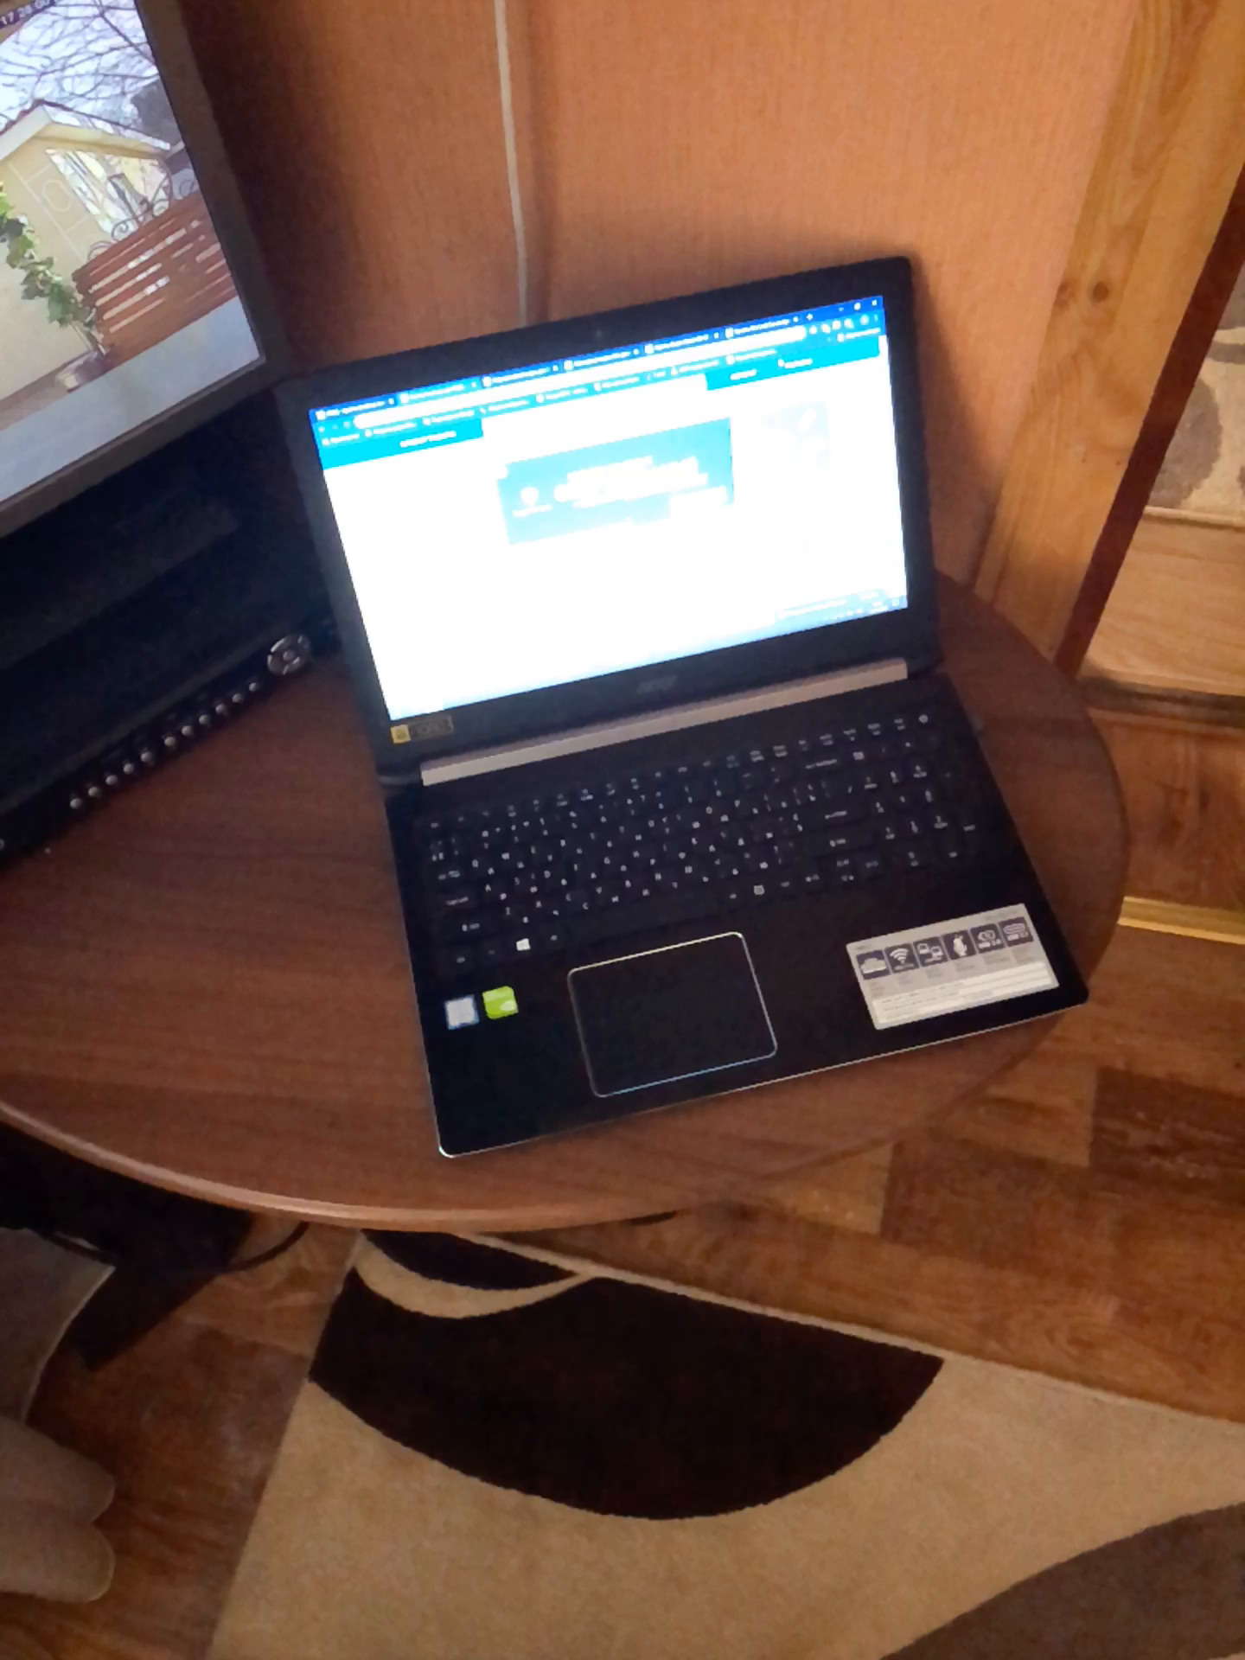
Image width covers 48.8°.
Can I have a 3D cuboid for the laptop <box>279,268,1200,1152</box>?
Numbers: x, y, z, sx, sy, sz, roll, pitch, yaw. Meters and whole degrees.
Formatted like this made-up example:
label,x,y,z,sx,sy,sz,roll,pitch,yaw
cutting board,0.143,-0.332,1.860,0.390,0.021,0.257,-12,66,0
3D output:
label,x,y,z,sx,sy,sz,roll,pitch,yaw
laptop,0.038,-0.079,0.776,0.372,0.186,0.391,-13,61,-6
